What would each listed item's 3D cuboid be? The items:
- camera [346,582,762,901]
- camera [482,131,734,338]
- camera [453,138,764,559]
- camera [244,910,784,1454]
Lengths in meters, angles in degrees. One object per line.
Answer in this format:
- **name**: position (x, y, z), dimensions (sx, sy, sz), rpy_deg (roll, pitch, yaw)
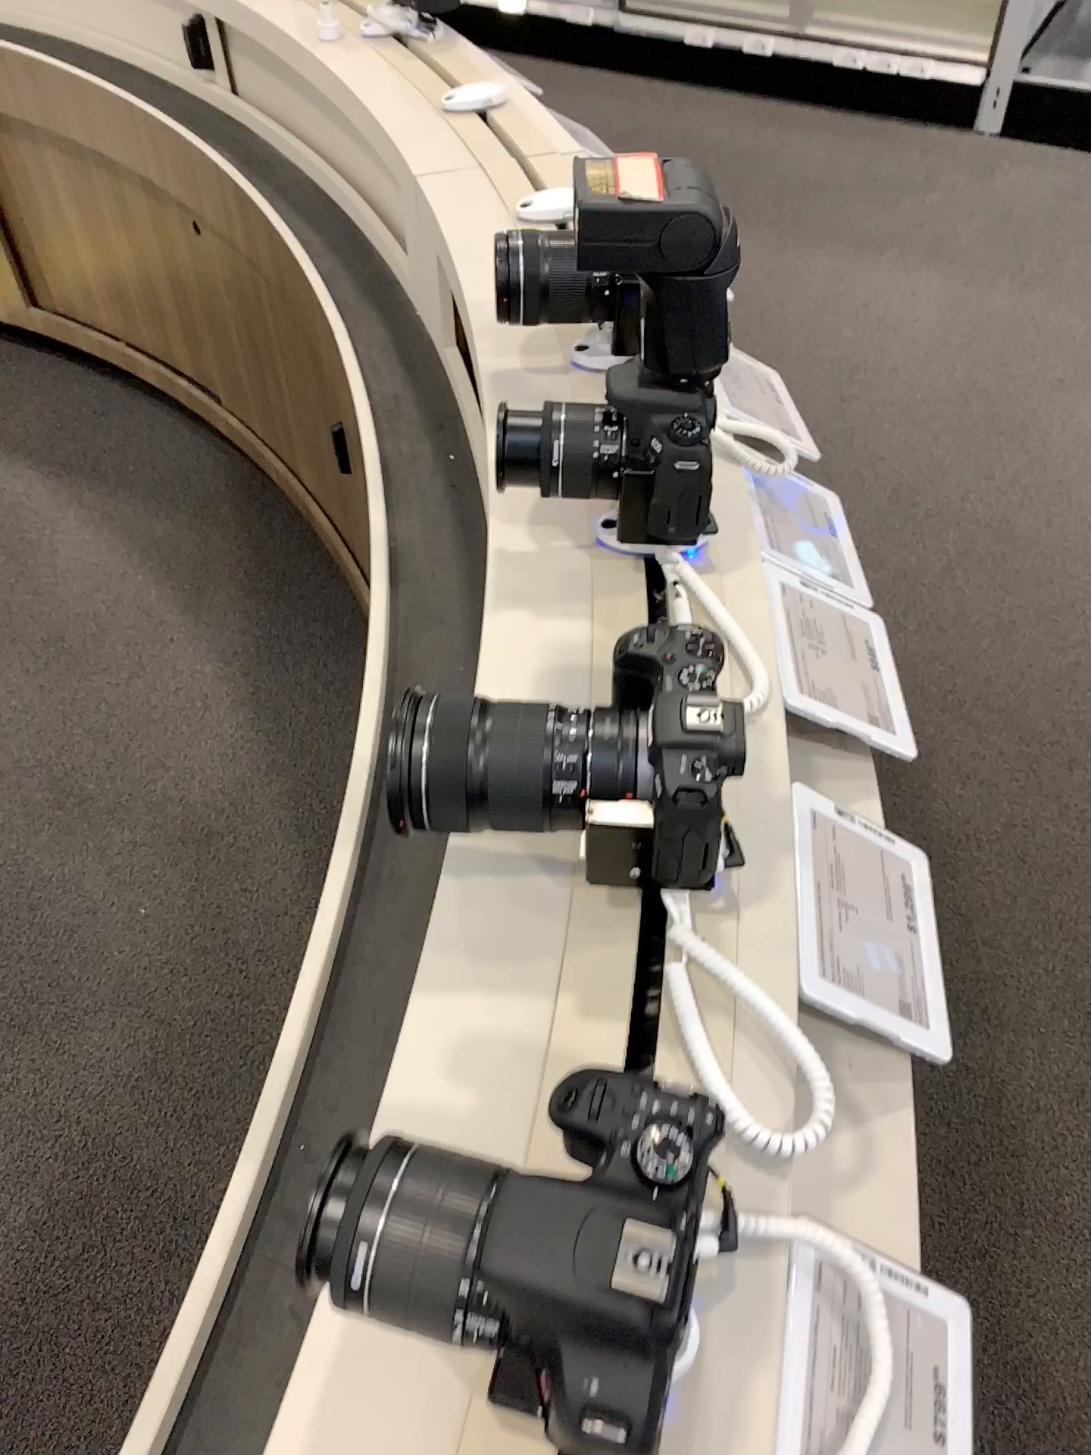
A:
- **camera**: position (0.008, 0.006, 0.620), dimensions (0.200, 0.099, 0.141), rpy_deg (2, 49, 3)
- **camera**: position (0.047, -0.414, 0.936), dimensions (0.190, 0.099, 0.141), rpy_deg (-3, 49, -1)
- **camera**: position (0.040, -0.247, 0.745), dimensions (0.170, 0.219, 0.151), rpy_deg (1, 49, 3)
- **camera**: position (-0.002, 0.187, 0.463), dimensions (0.170, 0.119, 0.151), rpy_deg (9, 50, 10)
